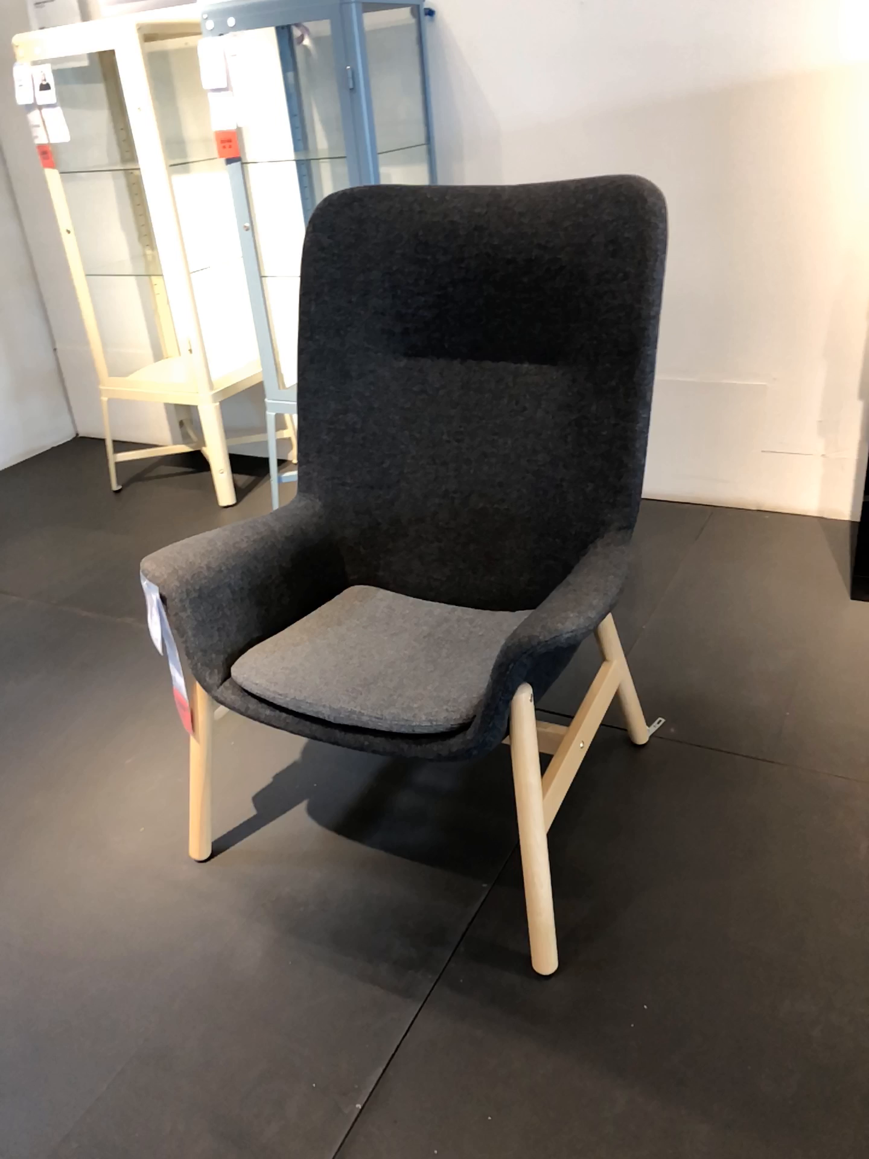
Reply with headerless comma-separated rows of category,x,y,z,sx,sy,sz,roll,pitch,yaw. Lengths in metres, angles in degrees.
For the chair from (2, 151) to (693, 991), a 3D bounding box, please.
chair,-0.034,-0.081,1.588,0.721,1.063,0.713,9,30,26
